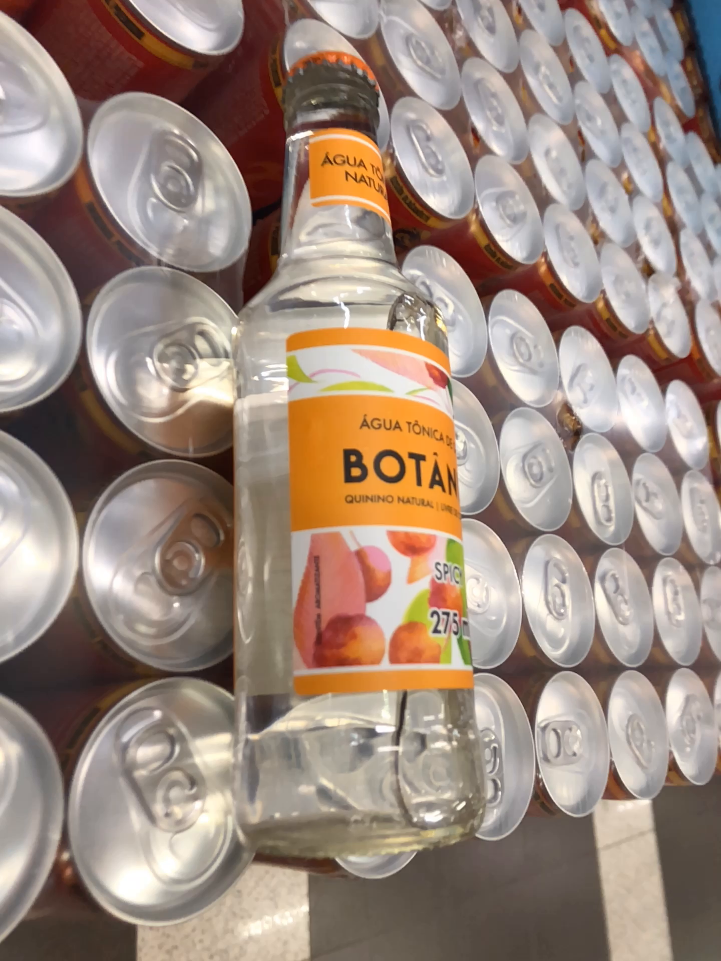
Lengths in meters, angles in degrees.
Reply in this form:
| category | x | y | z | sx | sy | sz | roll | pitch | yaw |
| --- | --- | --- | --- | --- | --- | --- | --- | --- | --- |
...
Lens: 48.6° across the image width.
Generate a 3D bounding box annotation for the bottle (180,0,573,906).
| category | x | y | z | sx | sy | sz | roll | pitch | yaw |
| --- | --- | --- | --- | --- | --- | --- | --- | --- | --- |
| bottle | 0.006 | -0.023 | 0.197 | 0.070 | 0.050 | 0.210 | 15 | 70 | -45 |
